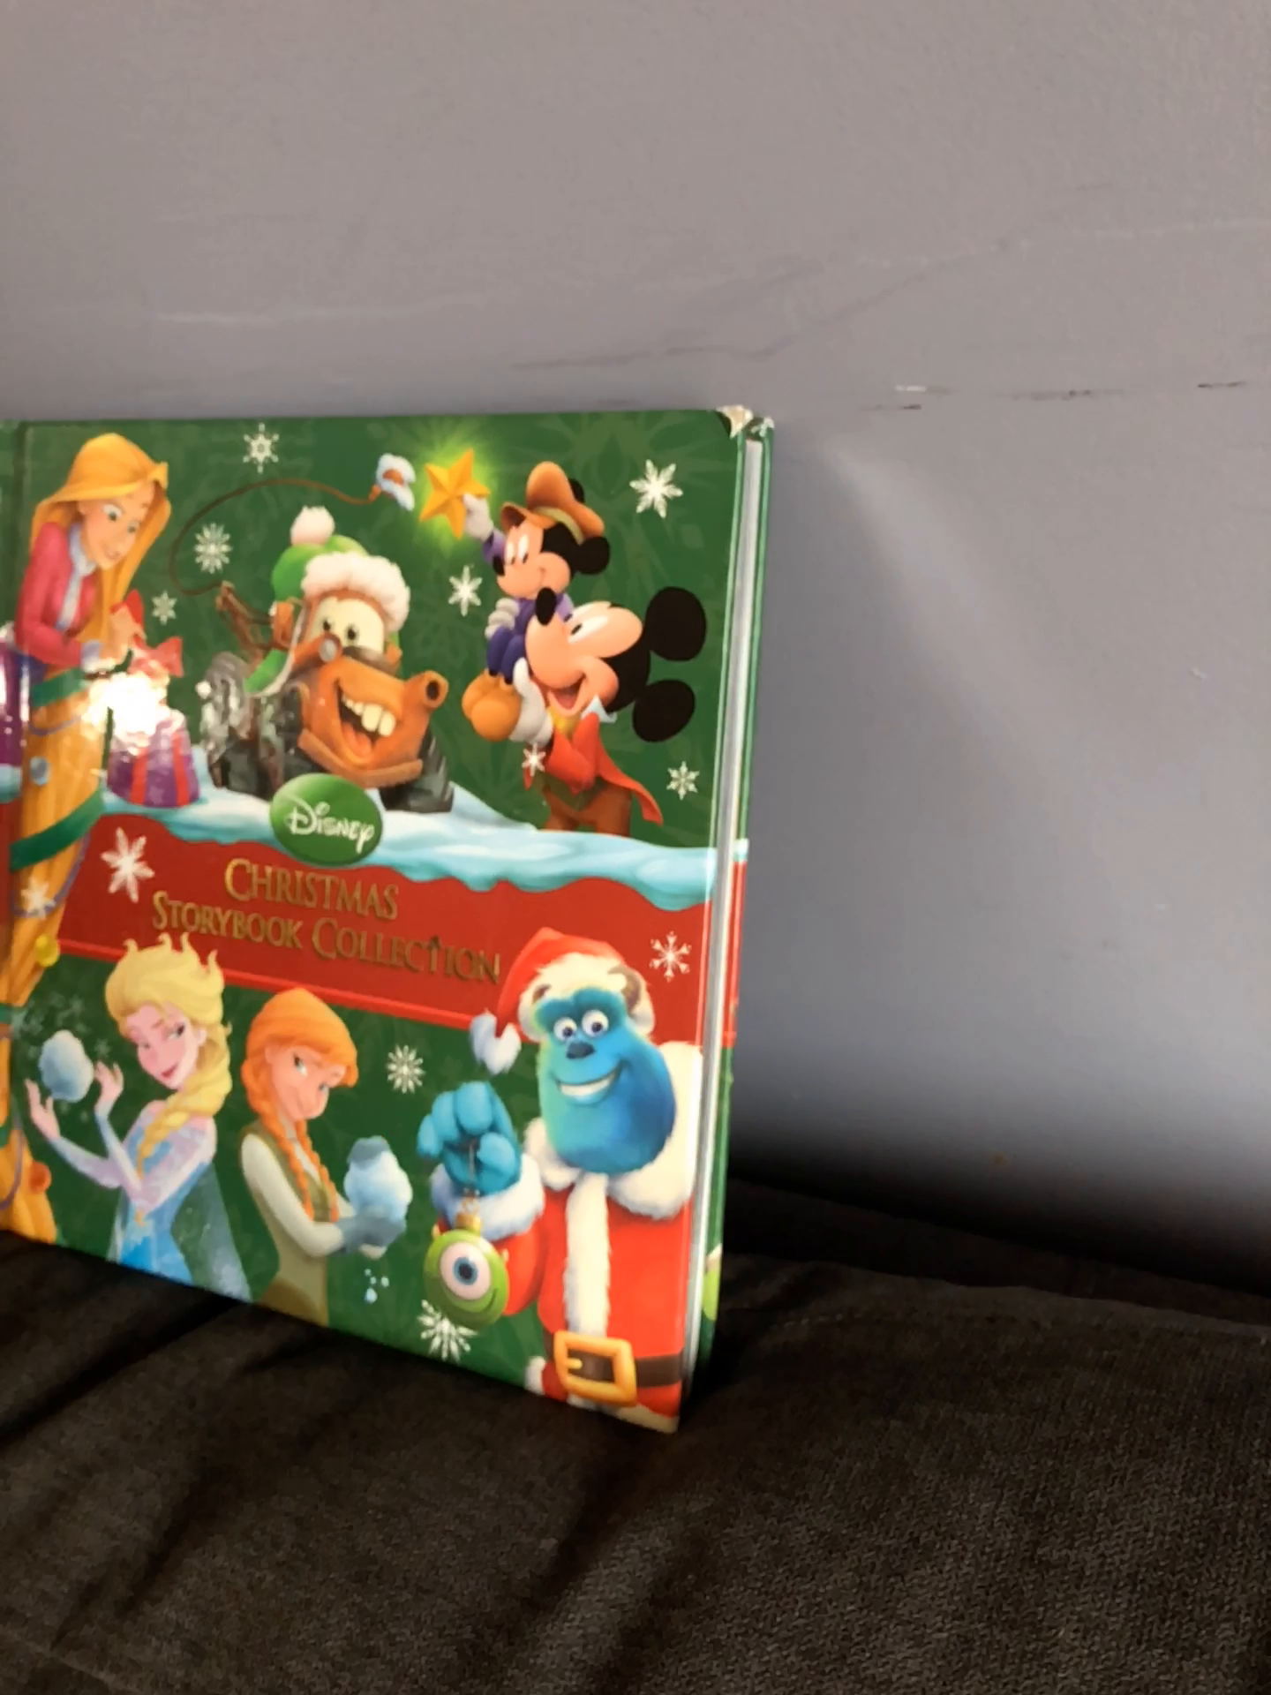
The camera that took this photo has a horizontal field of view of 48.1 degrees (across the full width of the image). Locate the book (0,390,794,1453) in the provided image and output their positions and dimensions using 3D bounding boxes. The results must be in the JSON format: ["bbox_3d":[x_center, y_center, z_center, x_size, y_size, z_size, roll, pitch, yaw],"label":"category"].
[{"bbox_3d":[-0.079,0.008,0.376,0.227,0.238,0.033,7,9,25],"label":"book"}]
